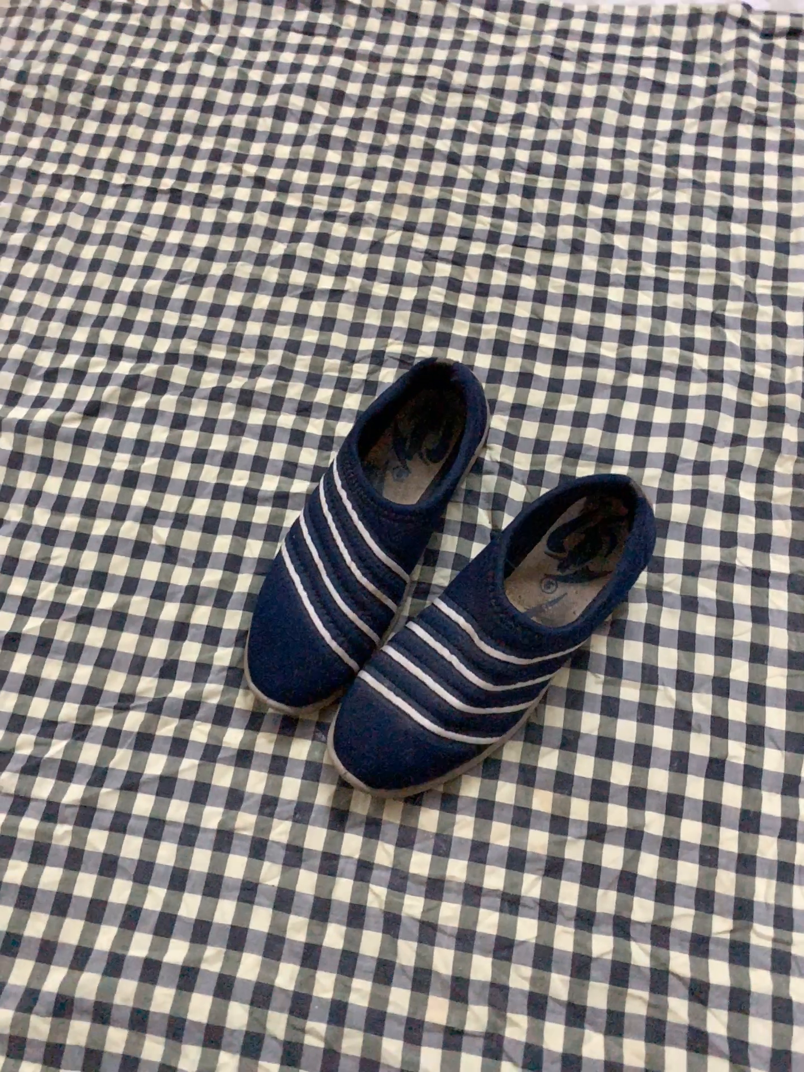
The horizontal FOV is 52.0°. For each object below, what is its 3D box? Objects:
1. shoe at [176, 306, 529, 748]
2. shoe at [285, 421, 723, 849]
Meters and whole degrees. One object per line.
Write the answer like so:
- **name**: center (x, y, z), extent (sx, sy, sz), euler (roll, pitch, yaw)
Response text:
- **shoe**: center (-0.021, -0.006, 0.517), extent (0.090, 0.090, 0.250), euler (27, 73, 12)
- **shoe**: center (0.062, 0.061, 0.498), extent (0.250, 0.100, 0.090), euler (-42, 73, -12)
